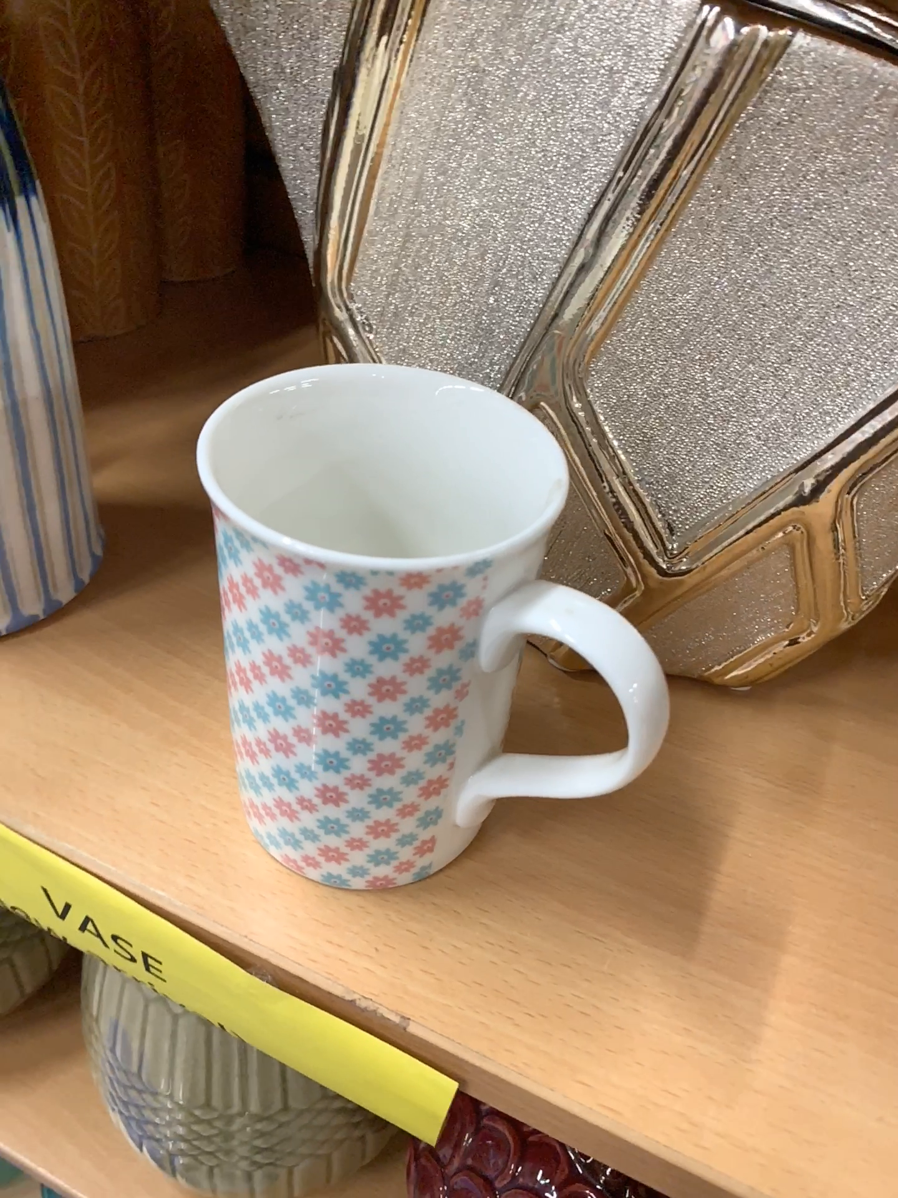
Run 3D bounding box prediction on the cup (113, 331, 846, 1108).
[{"bbox_3d":[0.000,0.020,0.215,0.120,0.110,0.080,30,43,26],"label":"cup"}]
